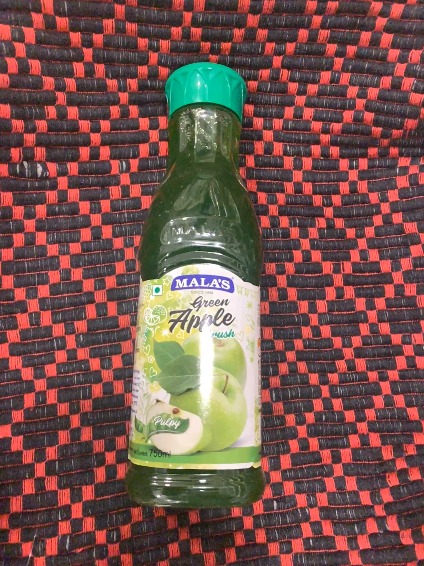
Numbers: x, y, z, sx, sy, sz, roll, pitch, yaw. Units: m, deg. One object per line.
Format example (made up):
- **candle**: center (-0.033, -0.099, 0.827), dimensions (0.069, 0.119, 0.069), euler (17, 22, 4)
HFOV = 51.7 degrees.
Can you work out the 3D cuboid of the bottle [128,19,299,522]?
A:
- **bottle**: center (-0.002, -0.015, 0.245), dimensions (0.070, 0.070, 0.250), euler (3, 74, -8)
